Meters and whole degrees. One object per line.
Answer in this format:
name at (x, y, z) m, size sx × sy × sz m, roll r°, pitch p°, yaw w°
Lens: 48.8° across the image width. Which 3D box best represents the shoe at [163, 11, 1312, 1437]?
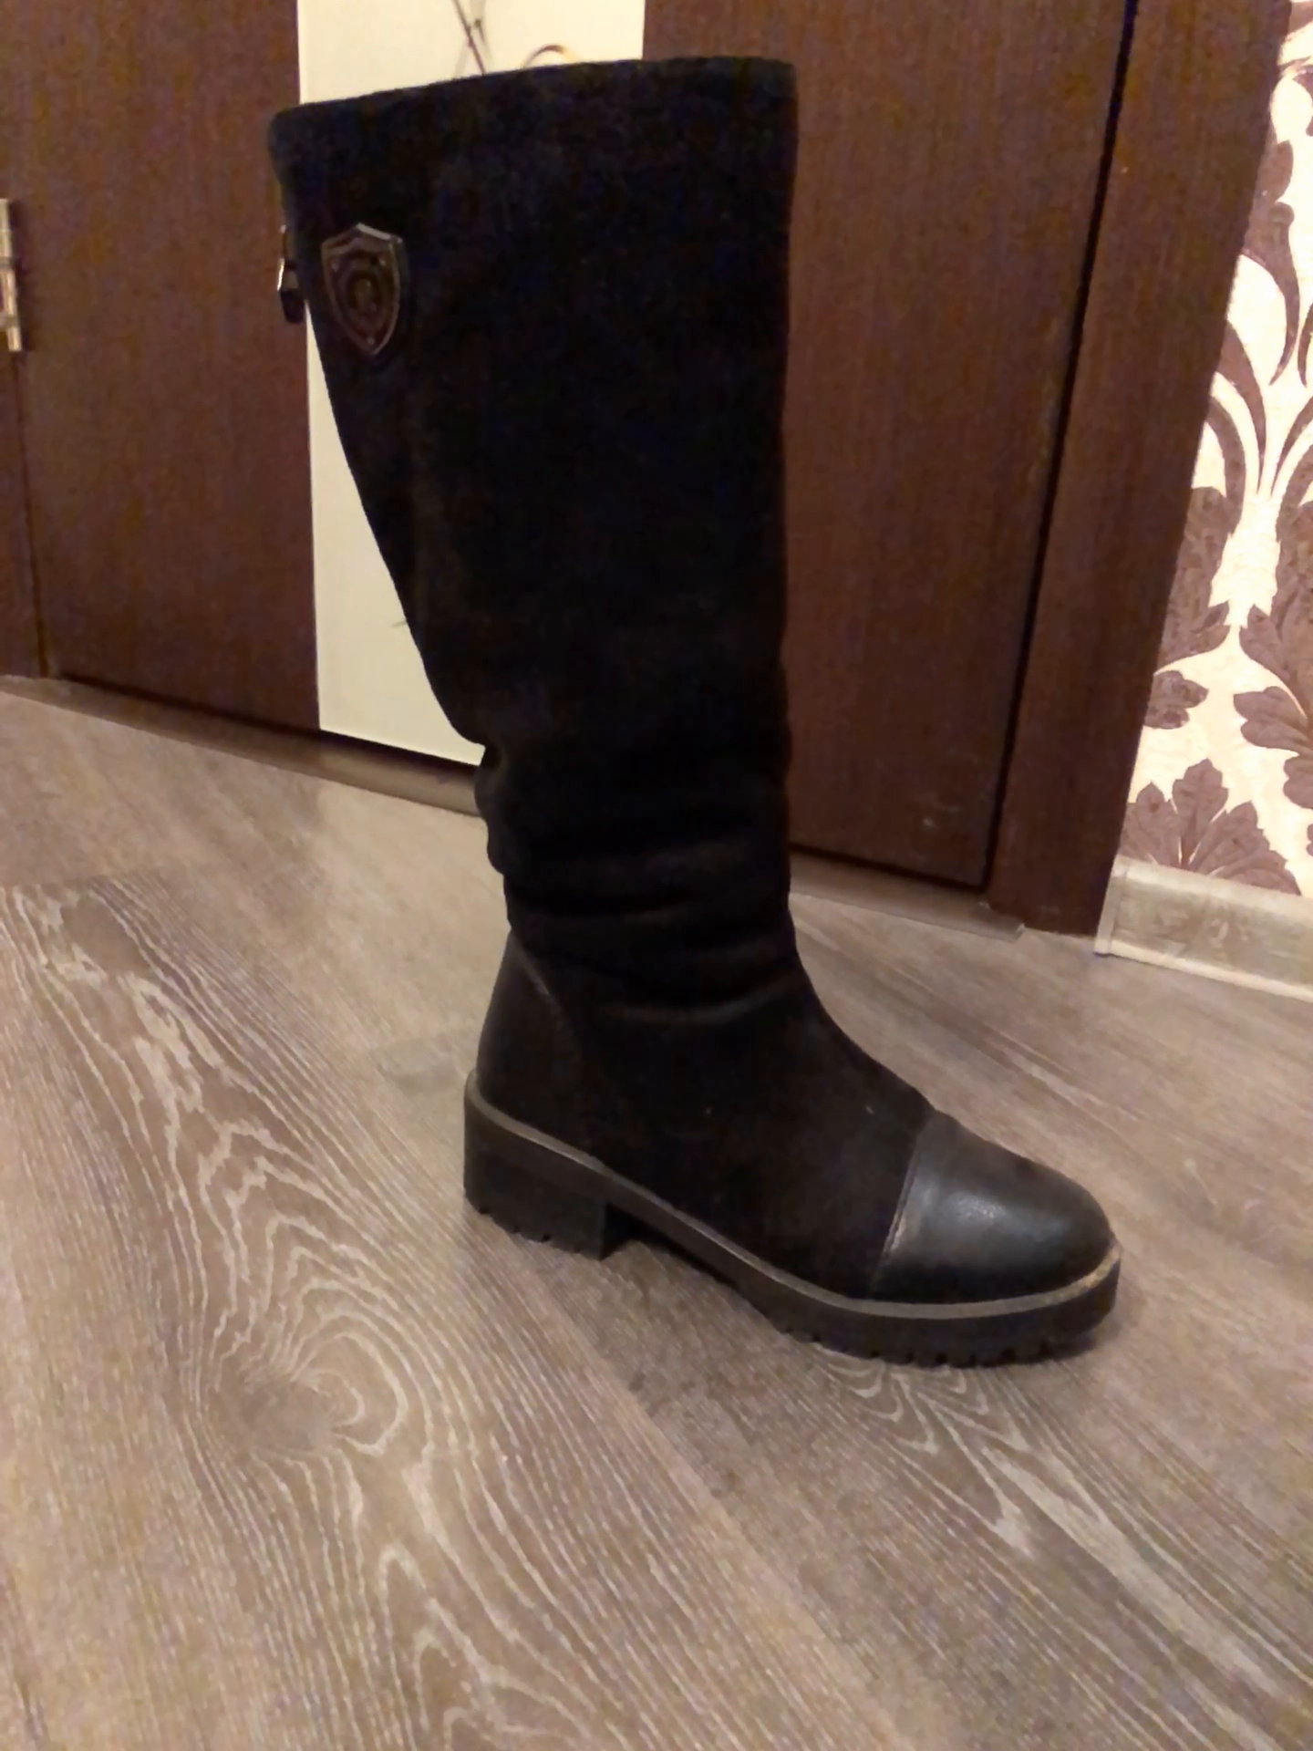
shoe at (0.018, -0.050, 0.449) m, size 0.290 × 0.358 × 0.121 m, roll 11°, pitch 23°, yaw 17°
